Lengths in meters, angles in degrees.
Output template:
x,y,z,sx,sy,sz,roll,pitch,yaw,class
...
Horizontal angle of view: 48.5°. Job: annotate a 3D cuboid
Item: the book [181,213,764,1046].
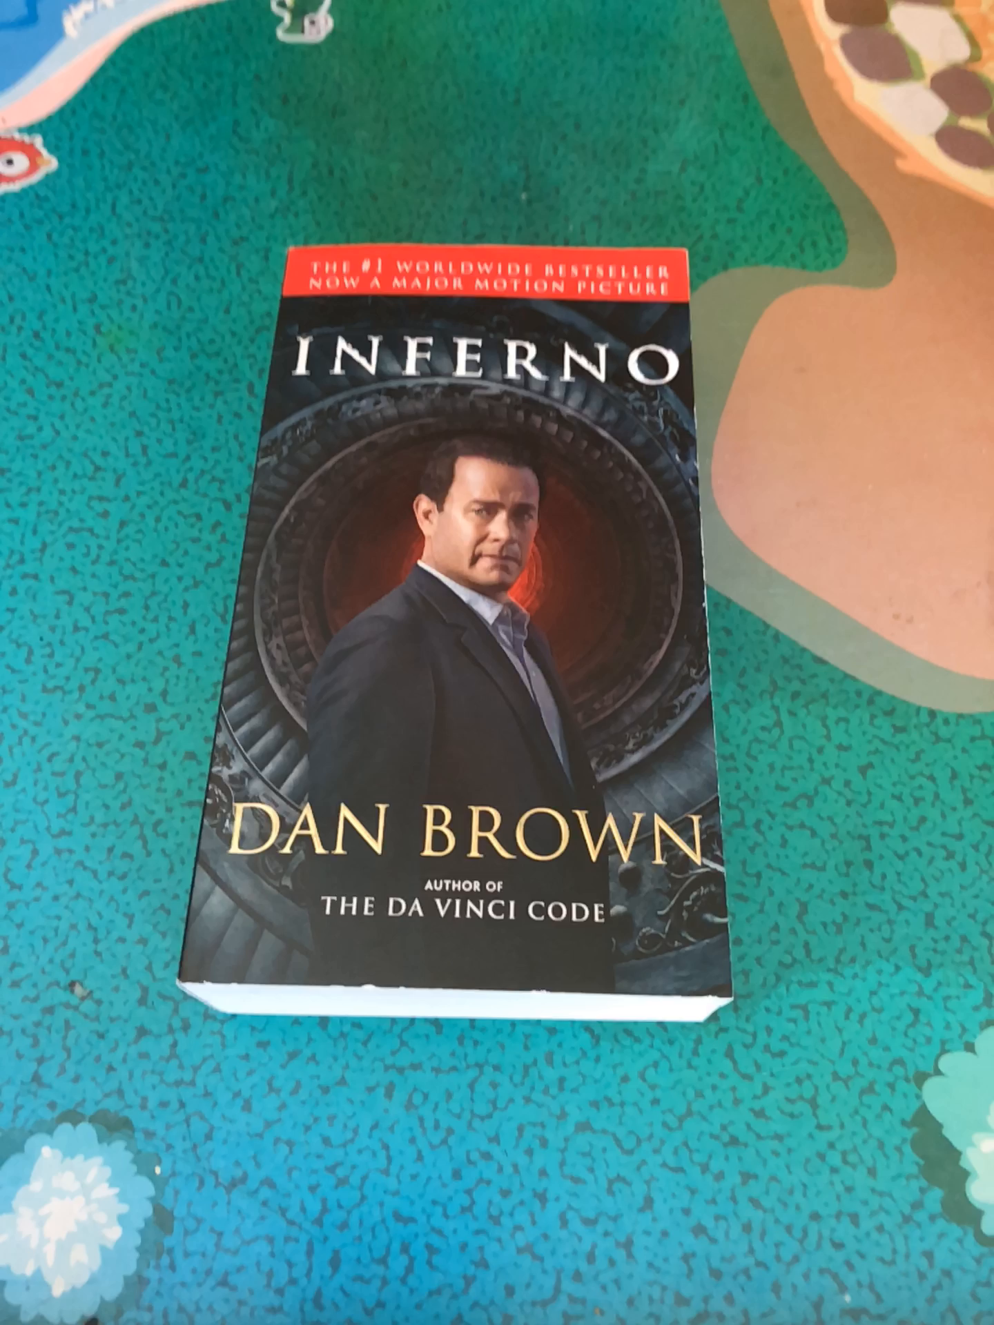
x,y,z,sx,sy,sz,roll,pitch,yaw,class
-0.002,-0.014,0.278,0.110,0.060,0.201,2,65,-1,book
